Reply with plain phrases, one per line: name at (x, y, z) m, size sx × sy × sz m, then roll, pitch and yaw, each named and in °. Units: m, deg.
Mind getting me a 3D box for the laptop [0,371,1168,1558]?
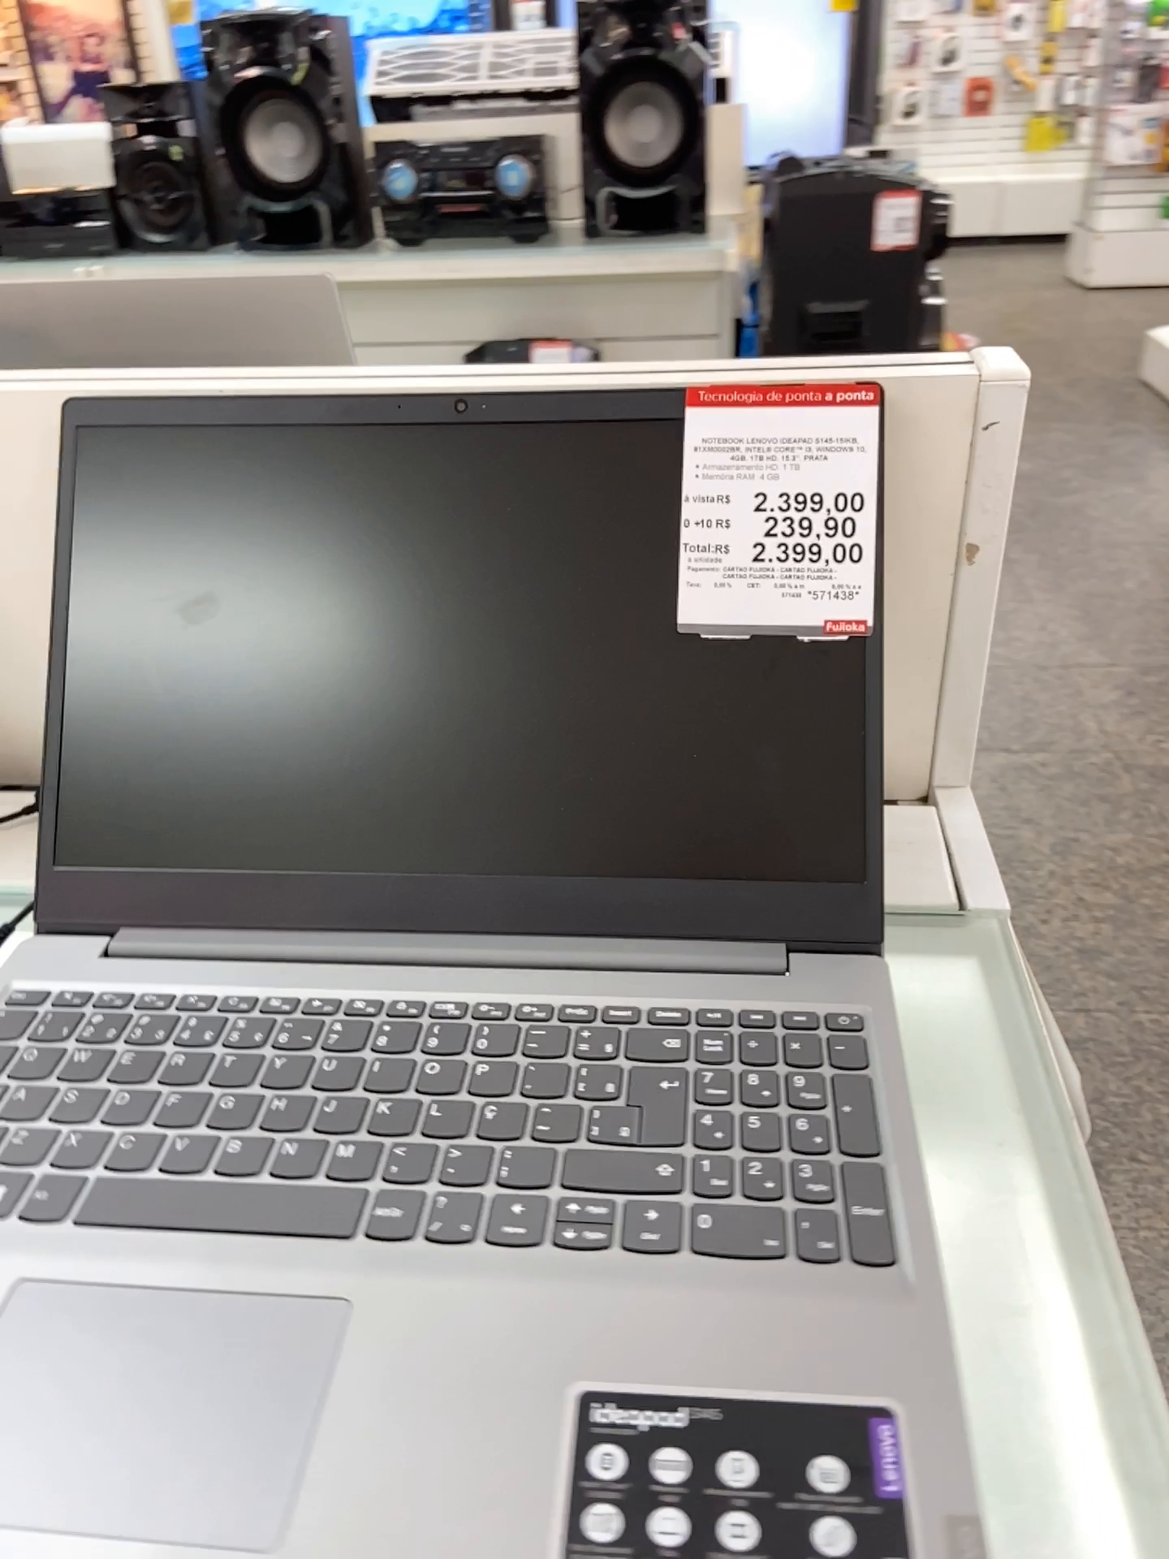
laptop at (-0.070, 0.015, 0.415) m, size 0.369 × 0.192 × 0.404 m, roll 1°, pitch 32°, yaw 7°
